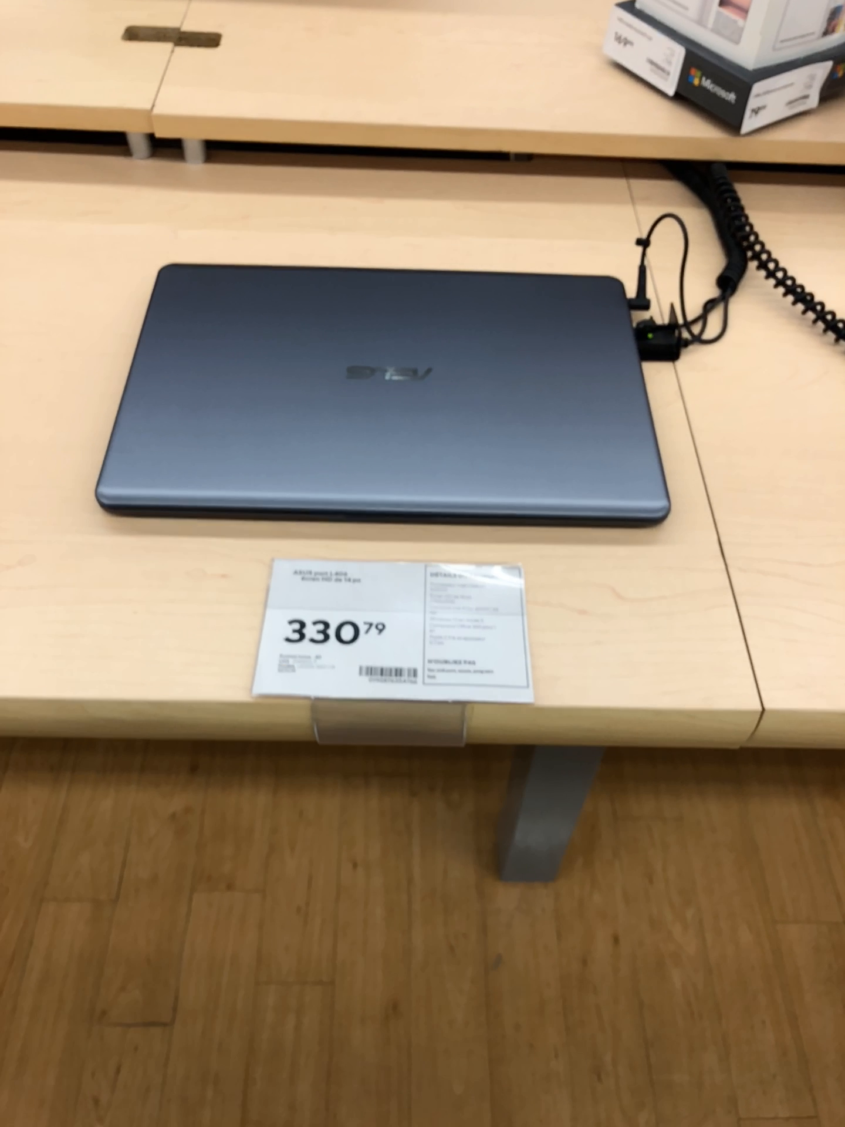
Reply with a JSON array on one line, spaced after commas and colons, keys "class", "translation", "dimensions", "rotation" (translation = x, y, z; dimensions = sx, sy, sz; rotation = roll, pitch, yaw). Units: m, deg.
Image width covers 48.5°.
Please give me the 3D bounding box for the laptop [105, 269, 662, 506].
[{"class": "laptop", "translation": [-0.022, -0.120, 0.600], "dimensions": [0.318, 0.001, 0.211], "rotation": [1, 52, -2]}]
